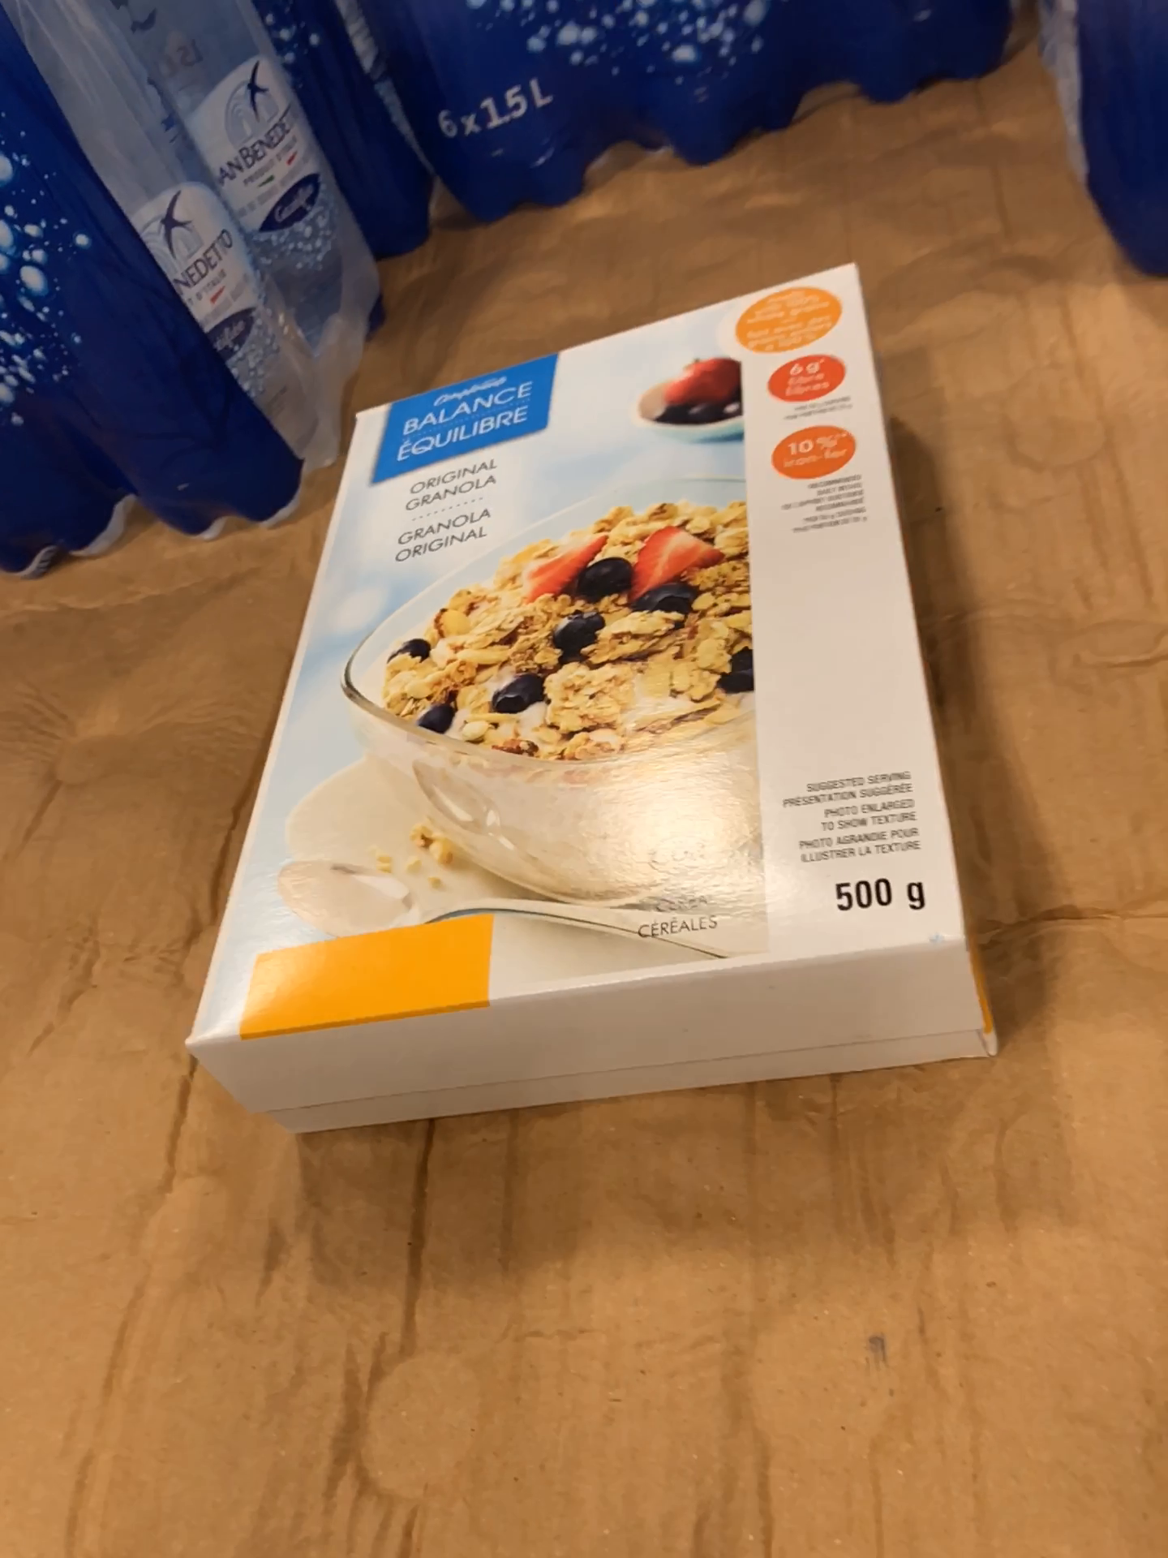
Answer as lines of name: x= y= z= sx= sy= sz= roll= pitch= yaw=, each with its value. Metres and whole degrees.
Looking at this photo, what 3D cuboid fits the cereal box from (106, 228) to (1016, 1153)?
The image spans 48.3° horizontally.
cereal box: x=-0.001 y=-0.037 z=0.348 sx=0.180 sy=0.050 sz=0.250 roll=-10 pitch=48 yaw=16
